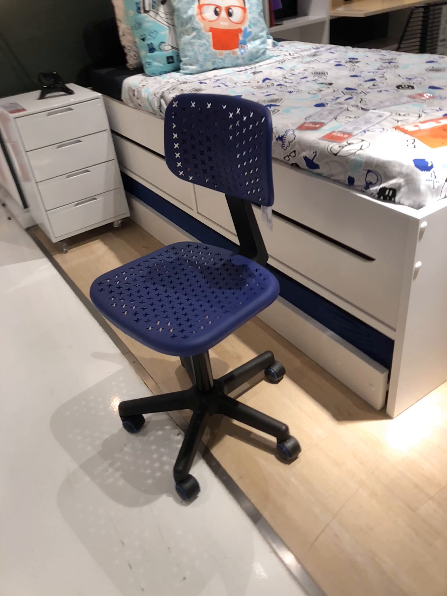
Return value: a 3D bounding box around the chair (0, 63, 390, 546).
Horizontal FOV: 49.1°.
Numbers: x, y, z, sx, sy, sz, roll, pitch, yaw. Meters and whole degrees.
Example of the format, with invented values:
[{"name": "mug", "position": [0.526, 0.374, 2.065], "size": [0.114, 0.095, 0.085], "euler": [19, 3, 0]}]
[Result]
[{"name": "chair", "position": [-0.049, -0.023, 1.124], "size": [0.521, 0.814, 0.553], "euler": [-28, 39, -27]}]
